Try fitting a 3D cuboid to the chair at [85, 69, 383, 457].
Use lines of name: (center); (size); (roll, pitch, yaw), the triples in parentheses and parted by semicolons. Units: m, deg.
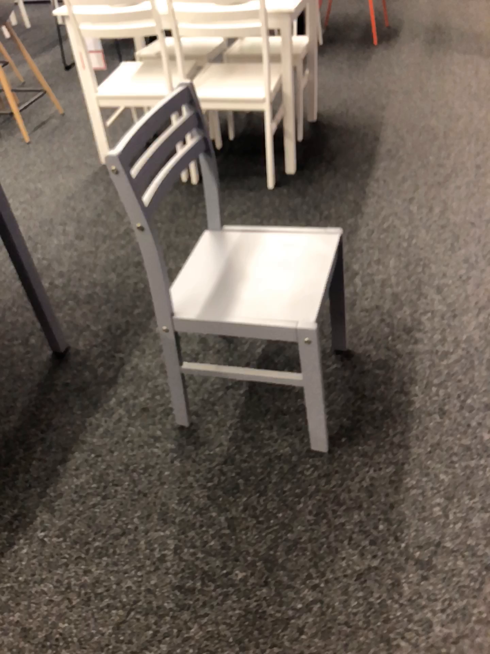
chair: (0.042, -0.148, 1.335); (0.490, 0.766, 0.493); (6, 42, 13)
